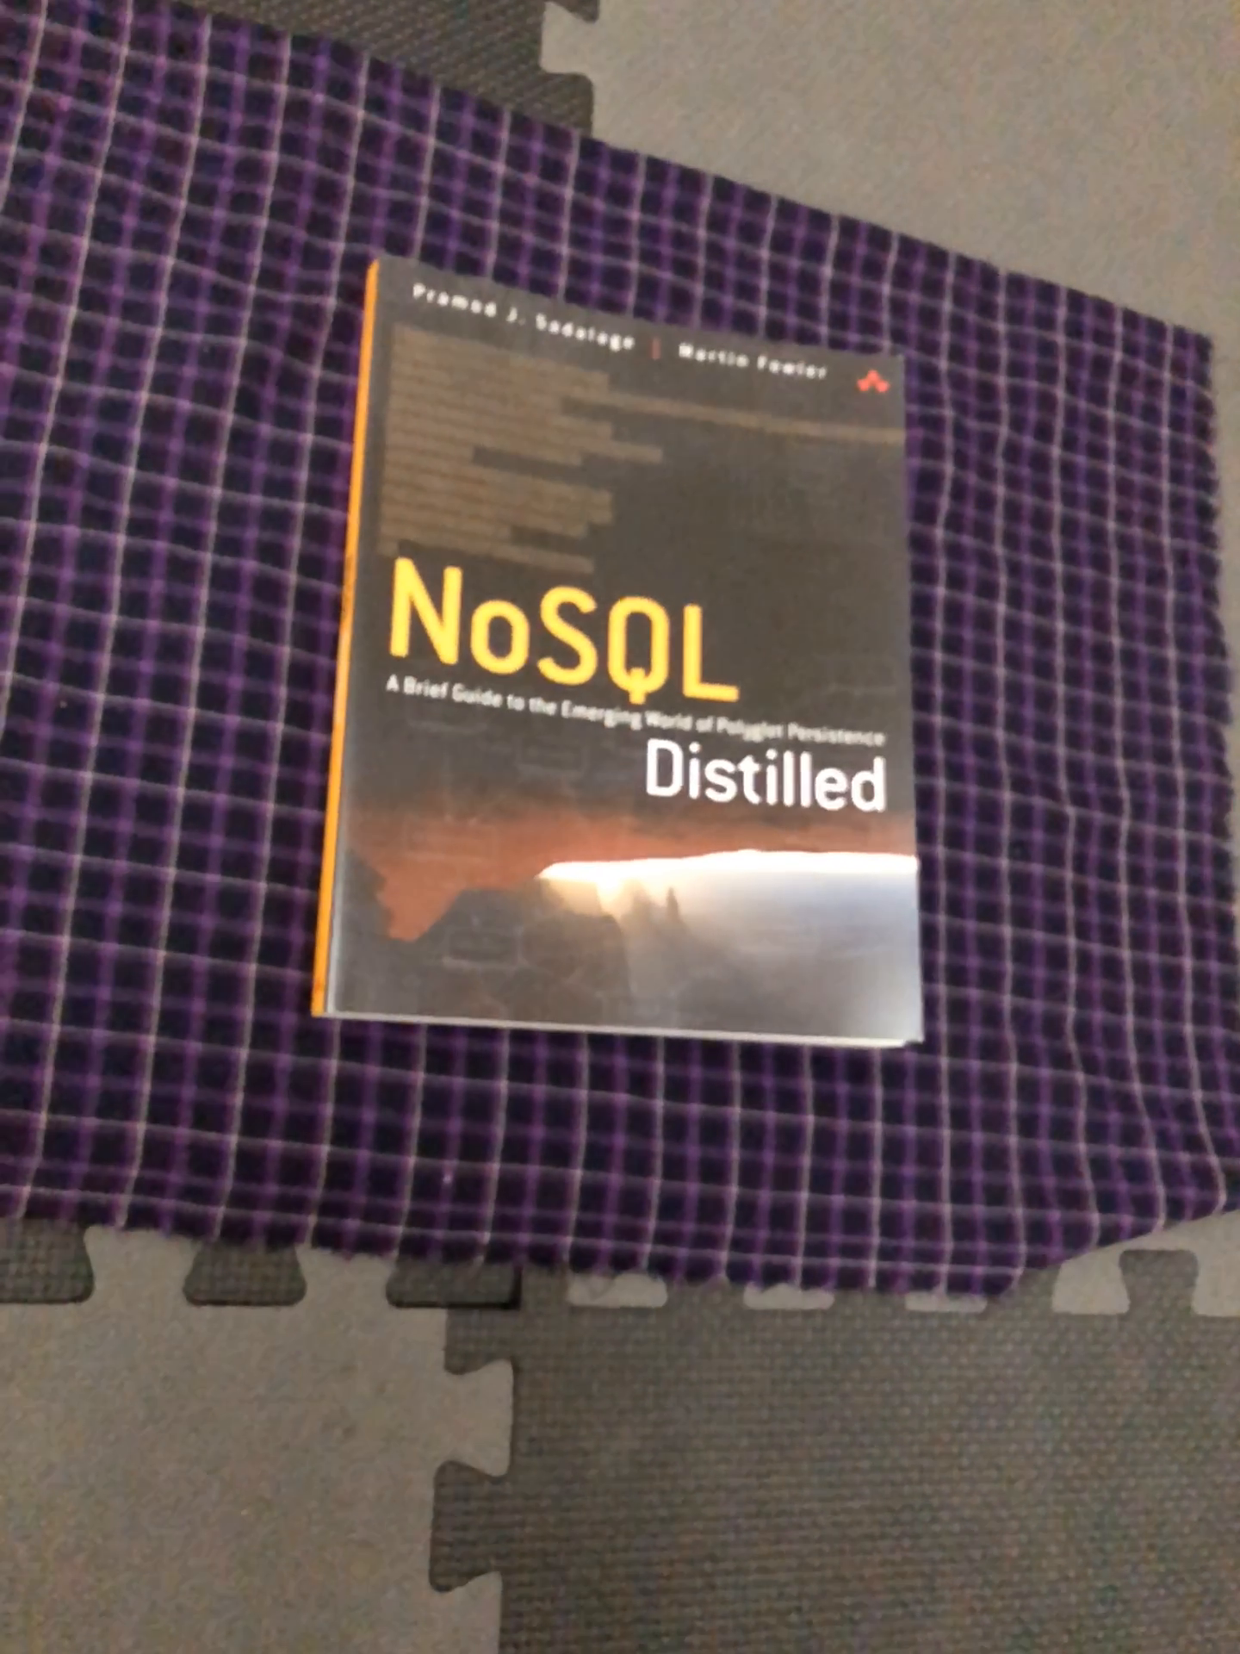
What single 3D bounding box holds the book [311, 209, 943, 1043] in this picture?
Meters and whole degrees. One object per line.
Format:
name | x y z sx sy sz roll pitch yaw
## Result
book | 0.008 -0.062 0.441 0.190 0.020 0.250 6 75 -17
